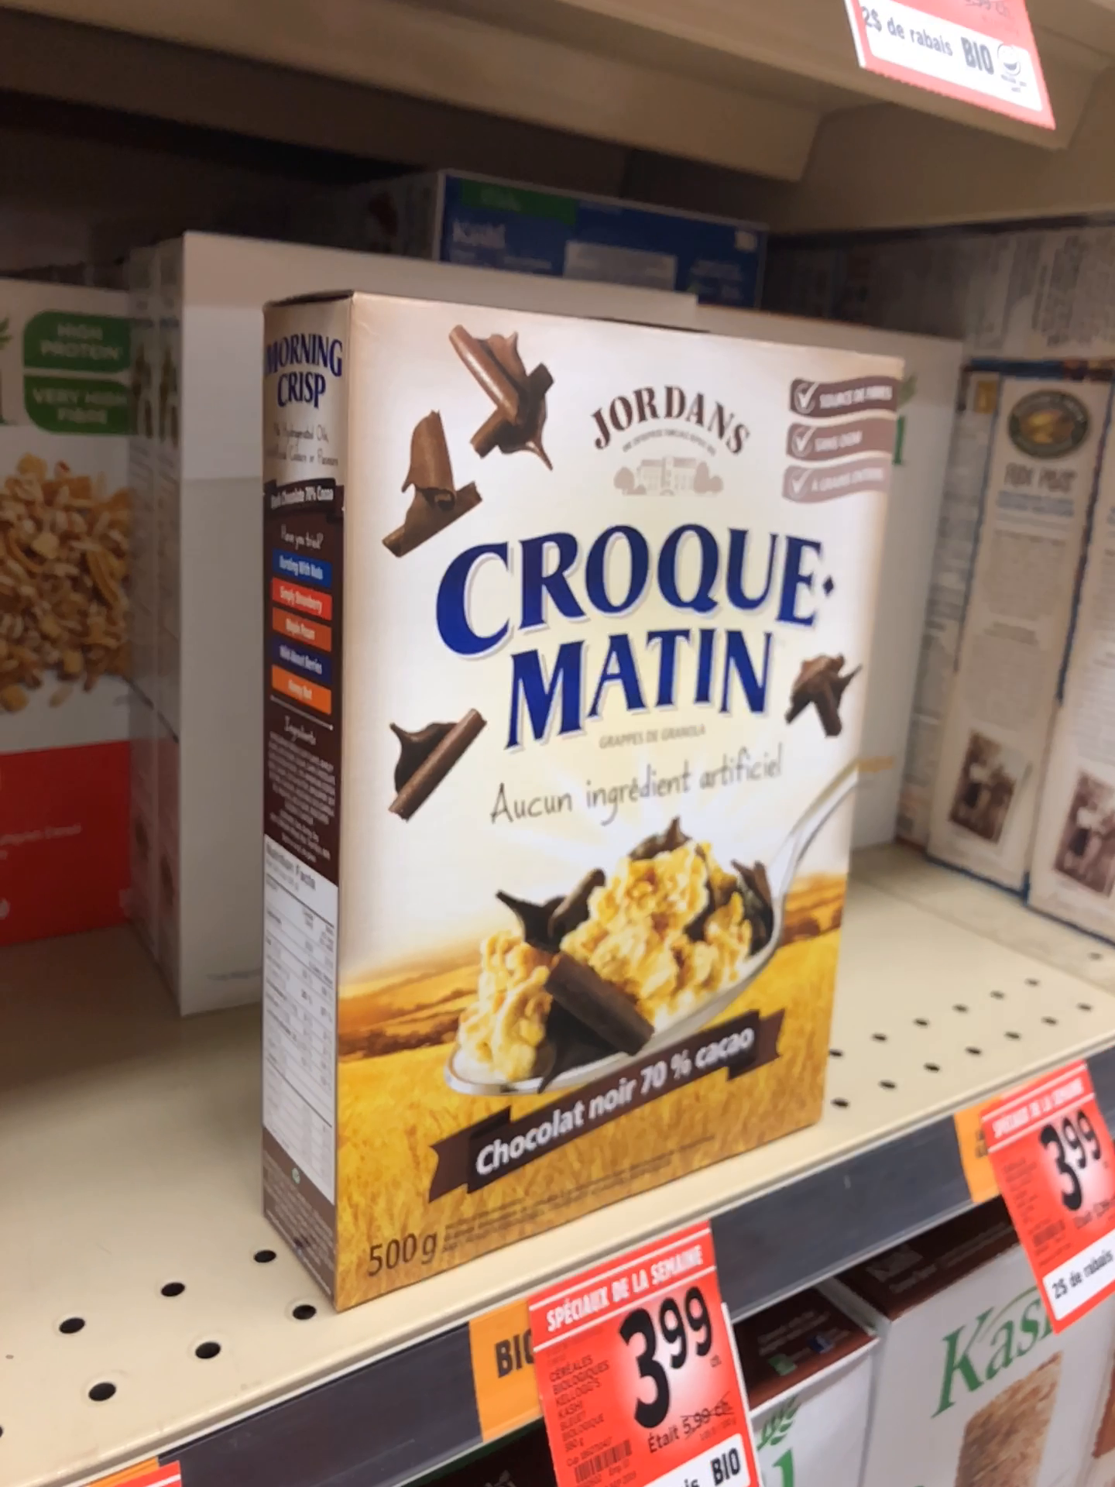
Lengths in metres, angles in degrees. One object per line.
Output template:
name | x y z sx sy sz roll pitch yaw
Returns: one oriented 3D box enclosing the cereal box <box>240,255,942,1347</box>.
cereal box | 0.013 0.009 0.349 0.190 0.249 0.050 -7 16 -35
